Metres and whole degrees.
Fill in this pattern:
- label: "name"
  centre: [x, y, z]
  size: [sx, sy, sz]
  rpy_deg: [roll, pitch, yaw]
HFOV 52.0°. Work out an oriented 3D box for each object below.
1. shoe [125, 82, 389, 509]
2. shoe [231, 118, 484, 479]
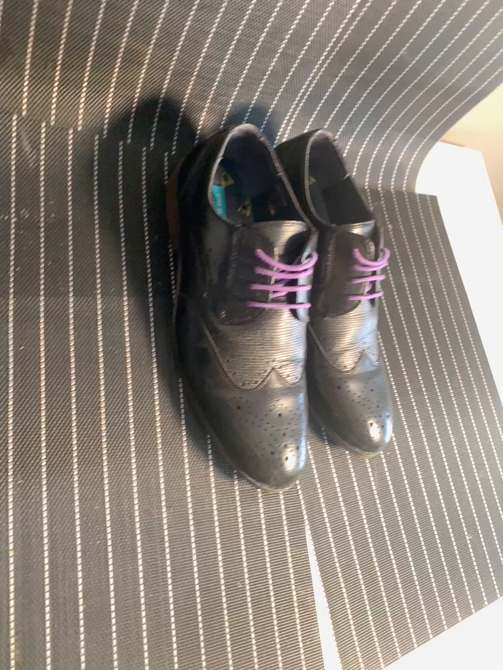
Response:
- label: "shoe"
  centre: [-0.005, -0.029, 0.416]
  size: [0.120, 0.100, 0.300]
  rpy_deg: [-5, 77, -32]
- label: "shoe"
  centre: [0.085, -0.032, 0.449]
  size: [0.110, 0.090, 0.280]
  rpy_deg: [-10, 80, -33]
